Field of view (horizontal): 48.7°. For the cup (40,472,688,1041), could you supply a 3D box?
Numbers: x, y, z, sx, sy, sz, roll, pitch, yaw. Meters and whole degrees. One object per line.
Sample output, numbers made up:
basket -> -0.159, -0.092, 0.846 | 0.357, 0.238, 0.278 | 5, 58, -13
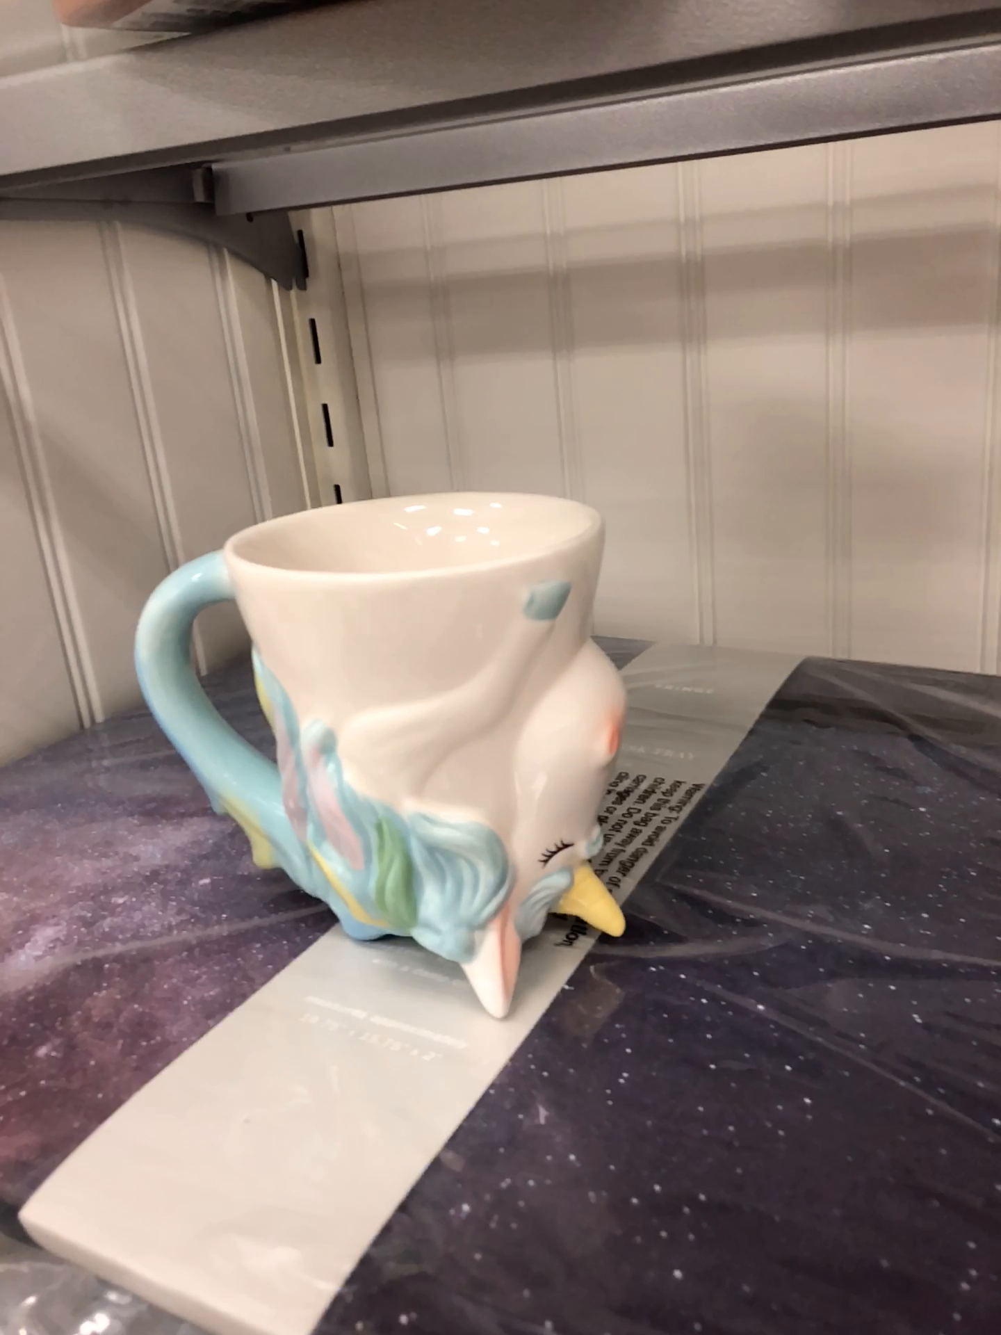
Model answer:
cup -> -0.026, 0.016, 0.314 | 0.140, 0.118, 0.101 | 1, 20, 17
